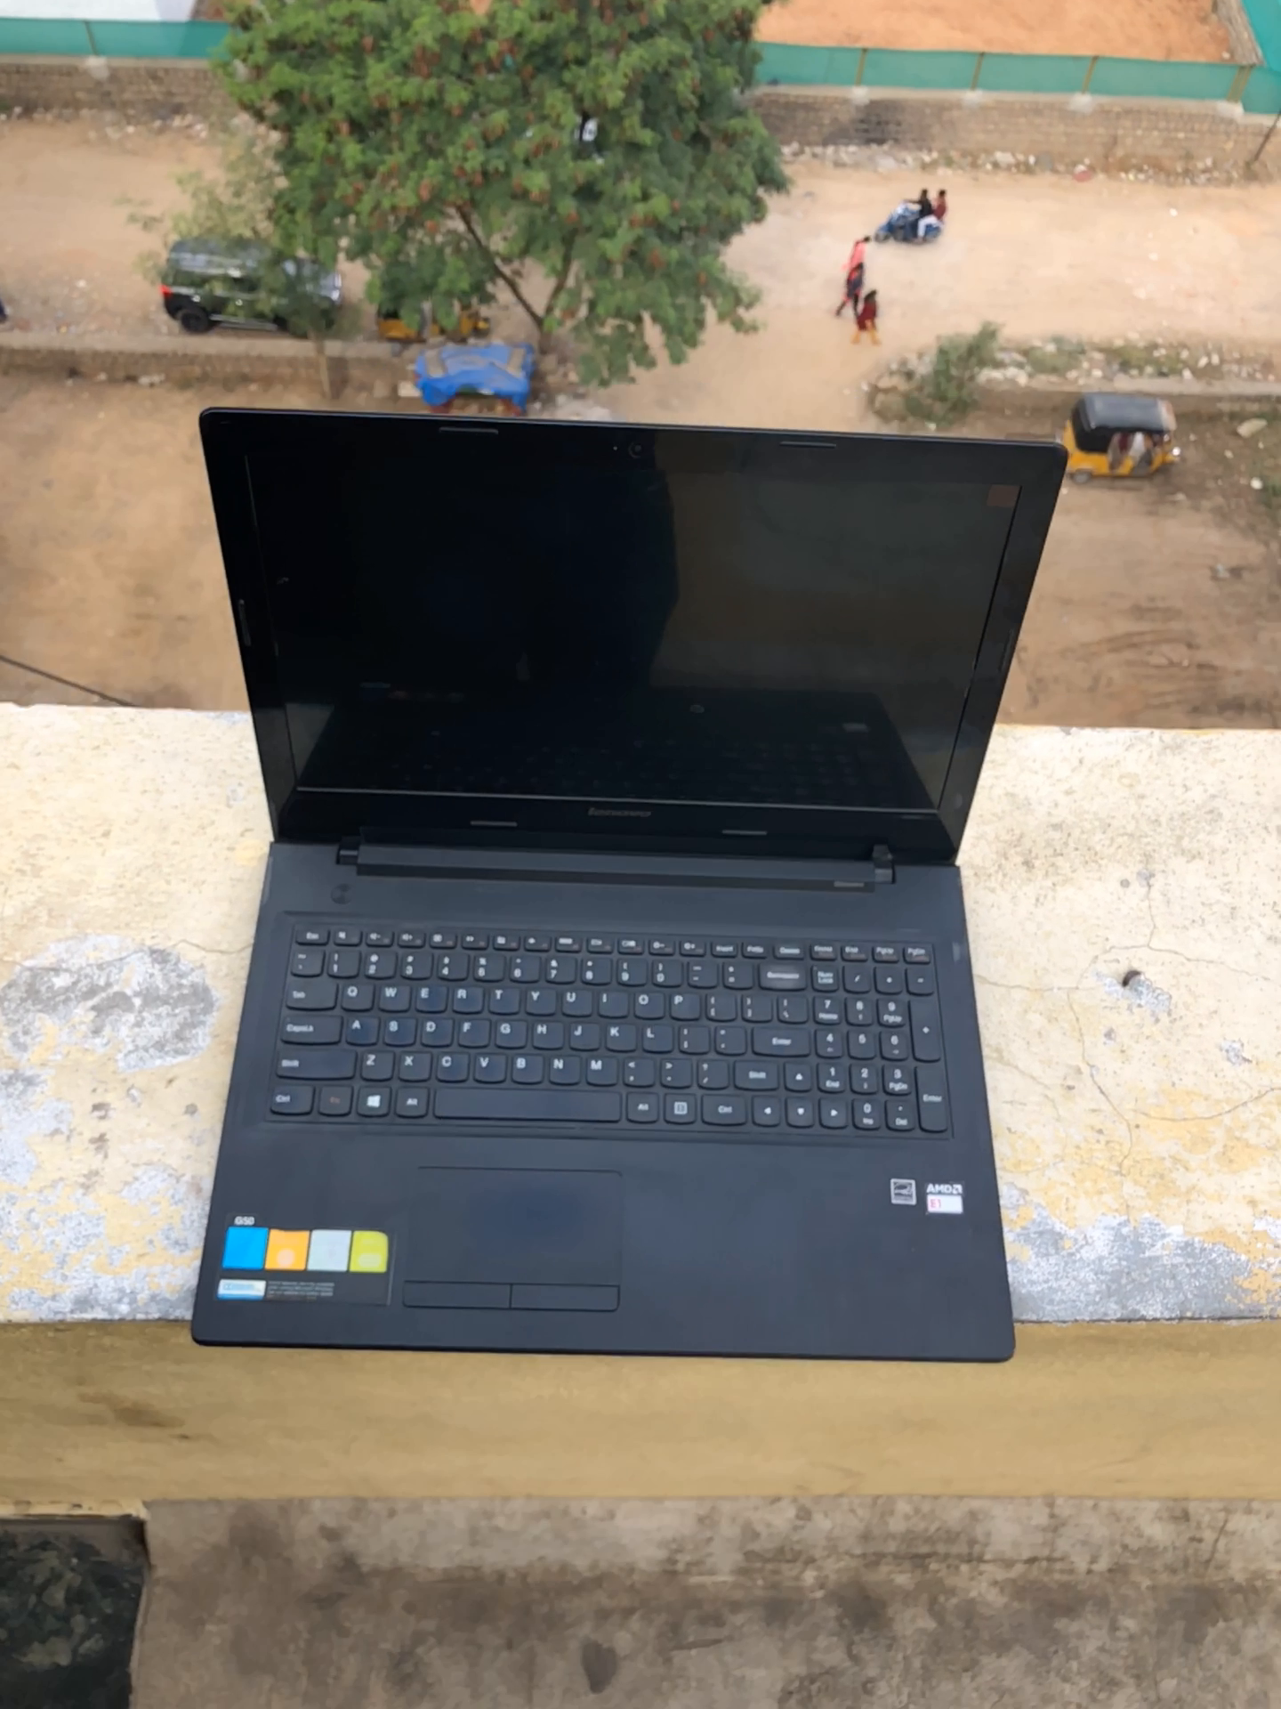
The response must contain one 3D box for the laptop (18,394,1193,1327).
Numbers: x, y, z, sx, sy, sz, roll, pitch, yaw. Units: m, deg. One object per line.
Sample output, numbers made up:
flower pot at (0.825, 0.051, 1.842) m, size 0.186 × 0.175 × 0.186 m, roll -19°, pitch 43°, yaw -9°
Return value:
laptop at (-0.012, 0.012, 0.623) m, size 0.366 × 0.229 × 0.331 m, roll 1°, pitch 60°, yaw -3°
